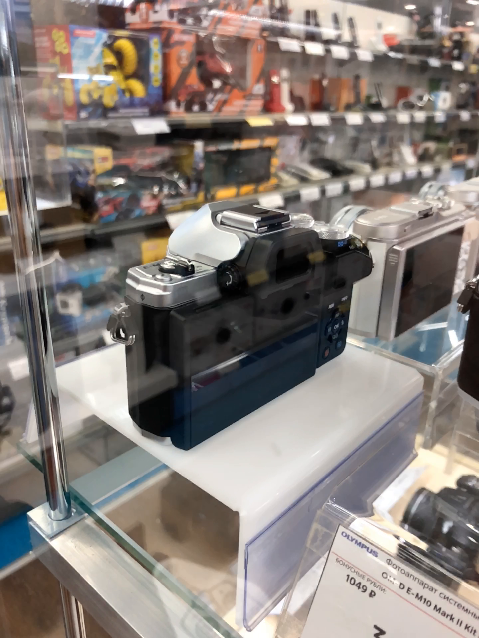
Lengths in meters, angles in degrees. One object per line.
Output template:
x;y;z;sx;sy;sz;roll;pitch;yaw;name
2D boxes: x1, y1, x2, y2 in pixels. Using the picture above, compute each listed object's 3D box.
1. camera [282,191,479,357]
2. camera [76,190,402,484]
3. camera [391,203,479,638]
0.095;-0.037;0.344;0.068;0.068;0.125;21;30;39;camera
0.005;-0.005;0.228;0.064;0.077;0.122;21;29;38;camera
0.144;0.018;0.187;0.136;0.084;0.101;19;28;36;camera
